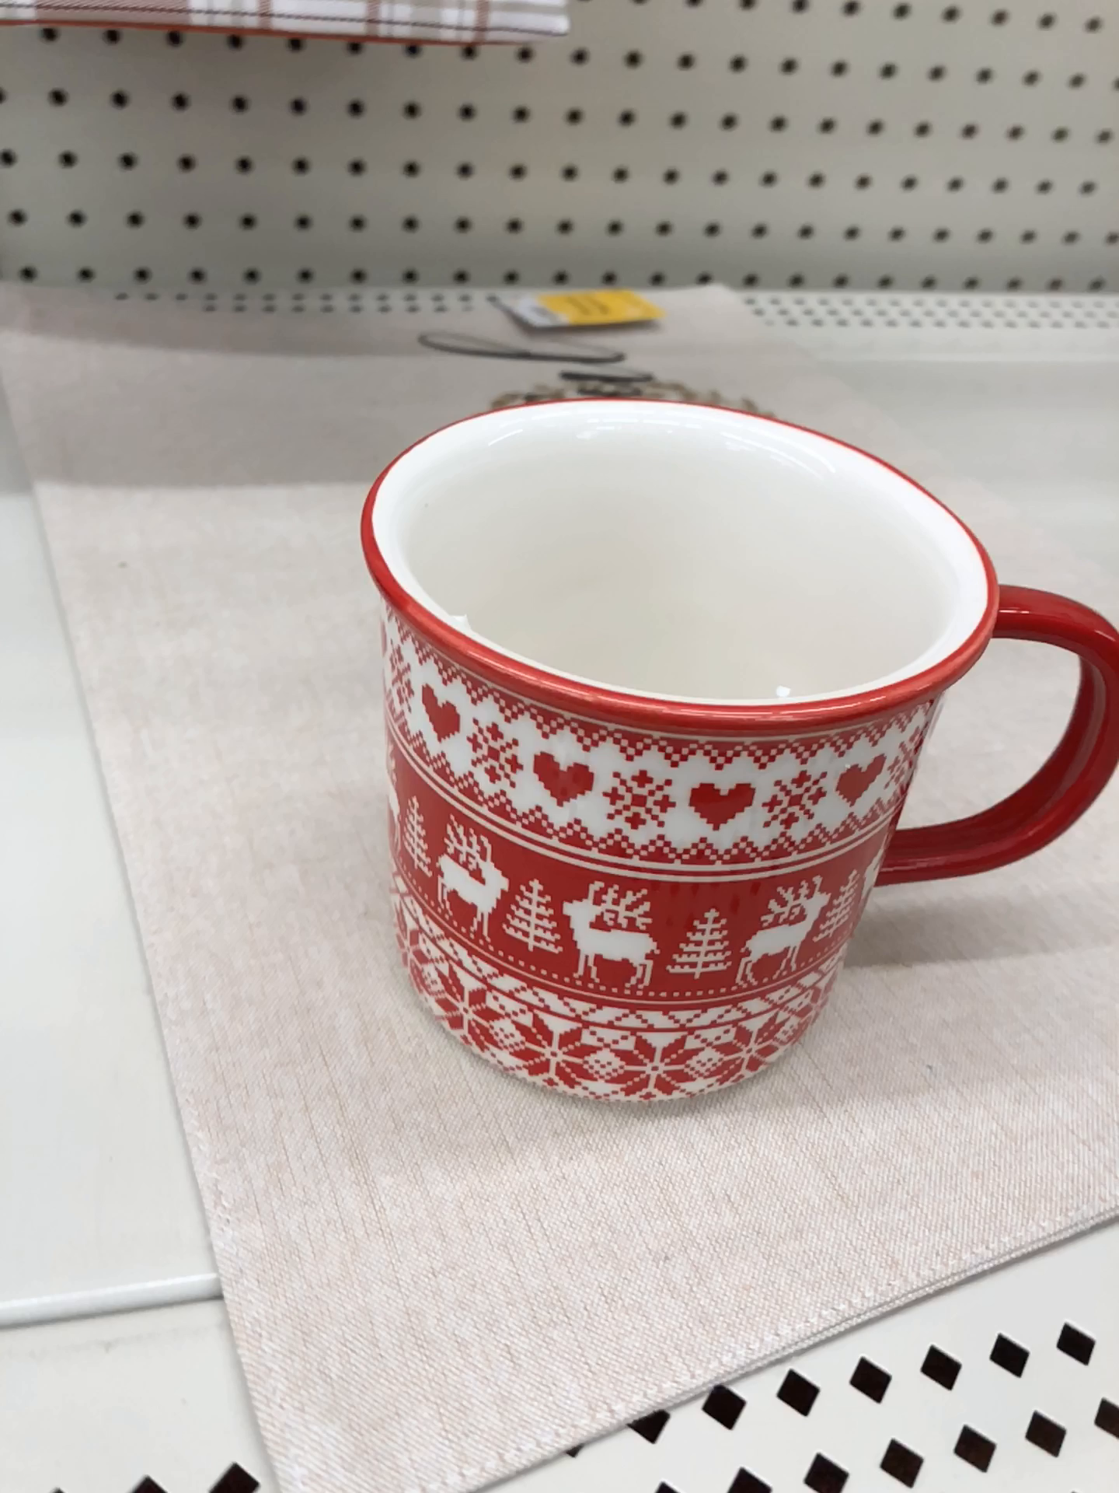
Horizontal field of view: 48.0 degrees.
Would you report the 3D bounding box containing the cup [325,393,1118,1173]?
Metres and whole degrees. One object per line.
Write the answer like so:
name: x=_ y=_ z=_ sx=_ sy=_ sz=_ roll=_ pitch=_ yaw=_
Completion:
cup: x=0.035 y=0.001 z=0.244 sx=0.150 sy=0.100 sz=0.100 roll=-4 pitch=40 yaw=-11
